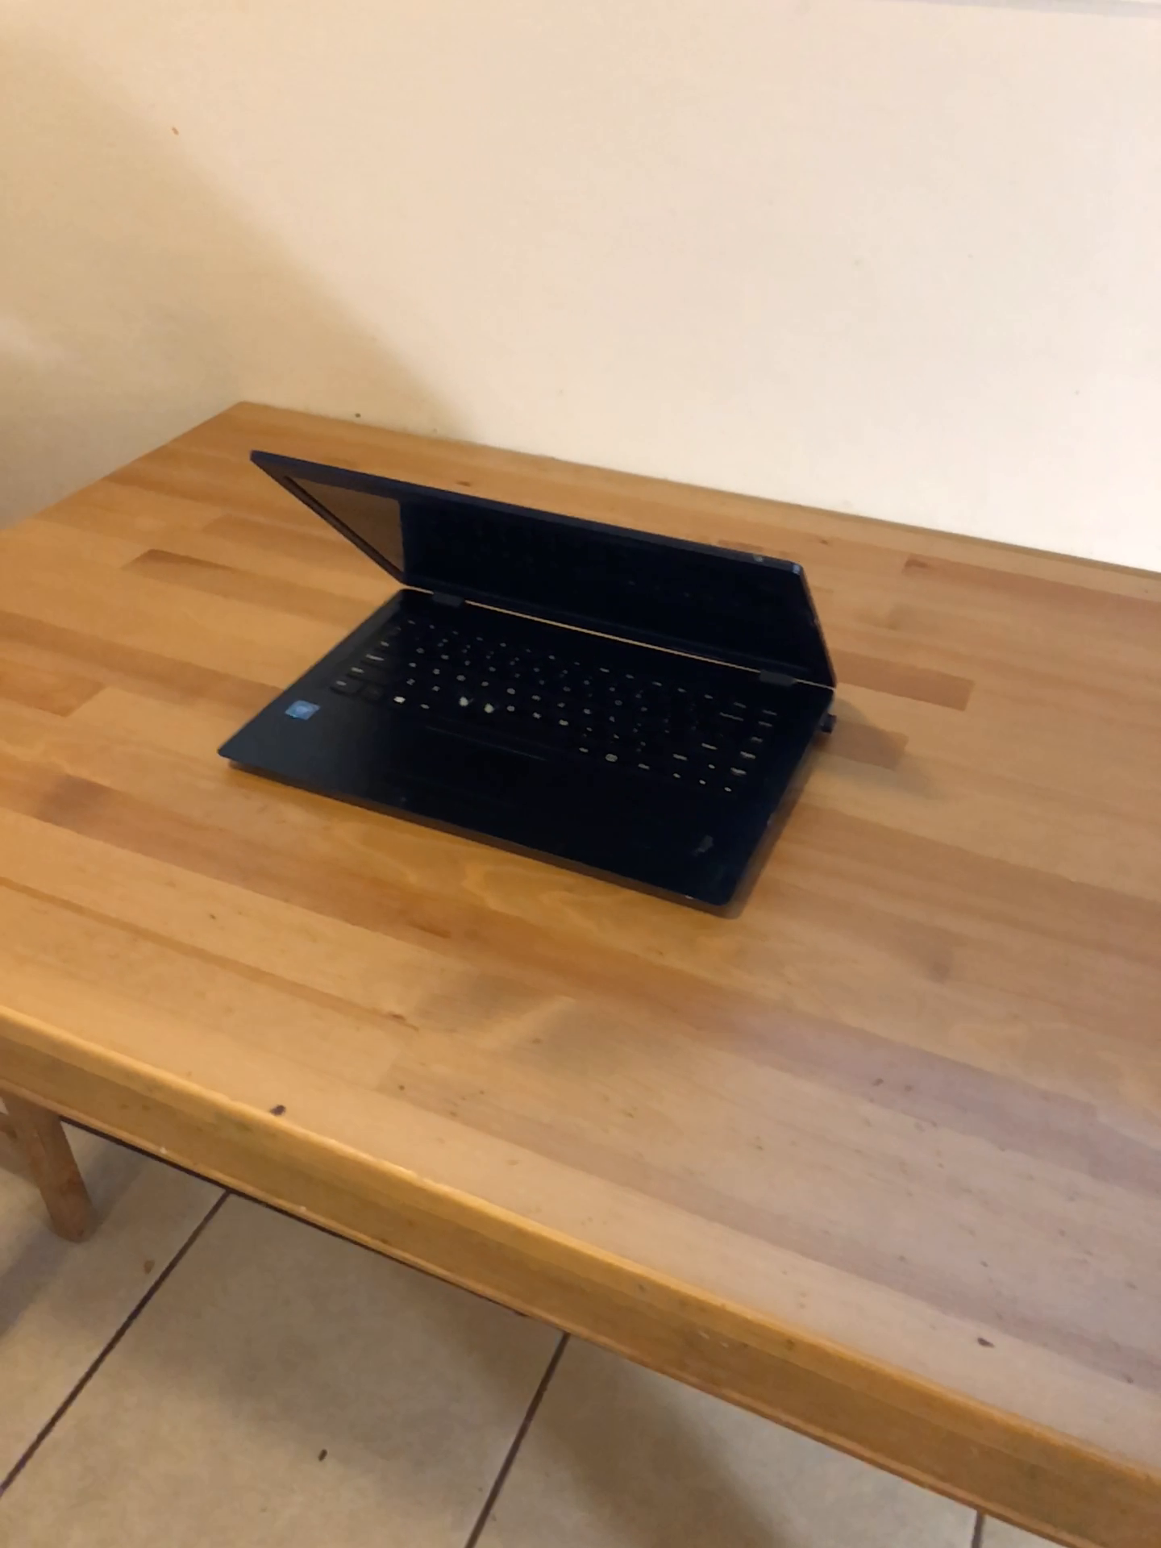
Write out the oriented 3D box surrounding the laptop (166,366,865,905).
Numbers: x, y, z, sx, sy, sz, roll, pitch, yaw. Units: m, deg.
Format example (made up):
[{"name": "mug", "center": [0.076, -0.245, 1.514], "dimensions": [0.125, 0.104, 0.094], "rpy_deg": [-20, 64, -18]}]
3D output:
[{"name": "laptop", "center": [-0.028, -0.098, 0.743], "dimensions": [0.317, 0.161, 0.217], "rpy_deg": [16, 40, 18]}]
